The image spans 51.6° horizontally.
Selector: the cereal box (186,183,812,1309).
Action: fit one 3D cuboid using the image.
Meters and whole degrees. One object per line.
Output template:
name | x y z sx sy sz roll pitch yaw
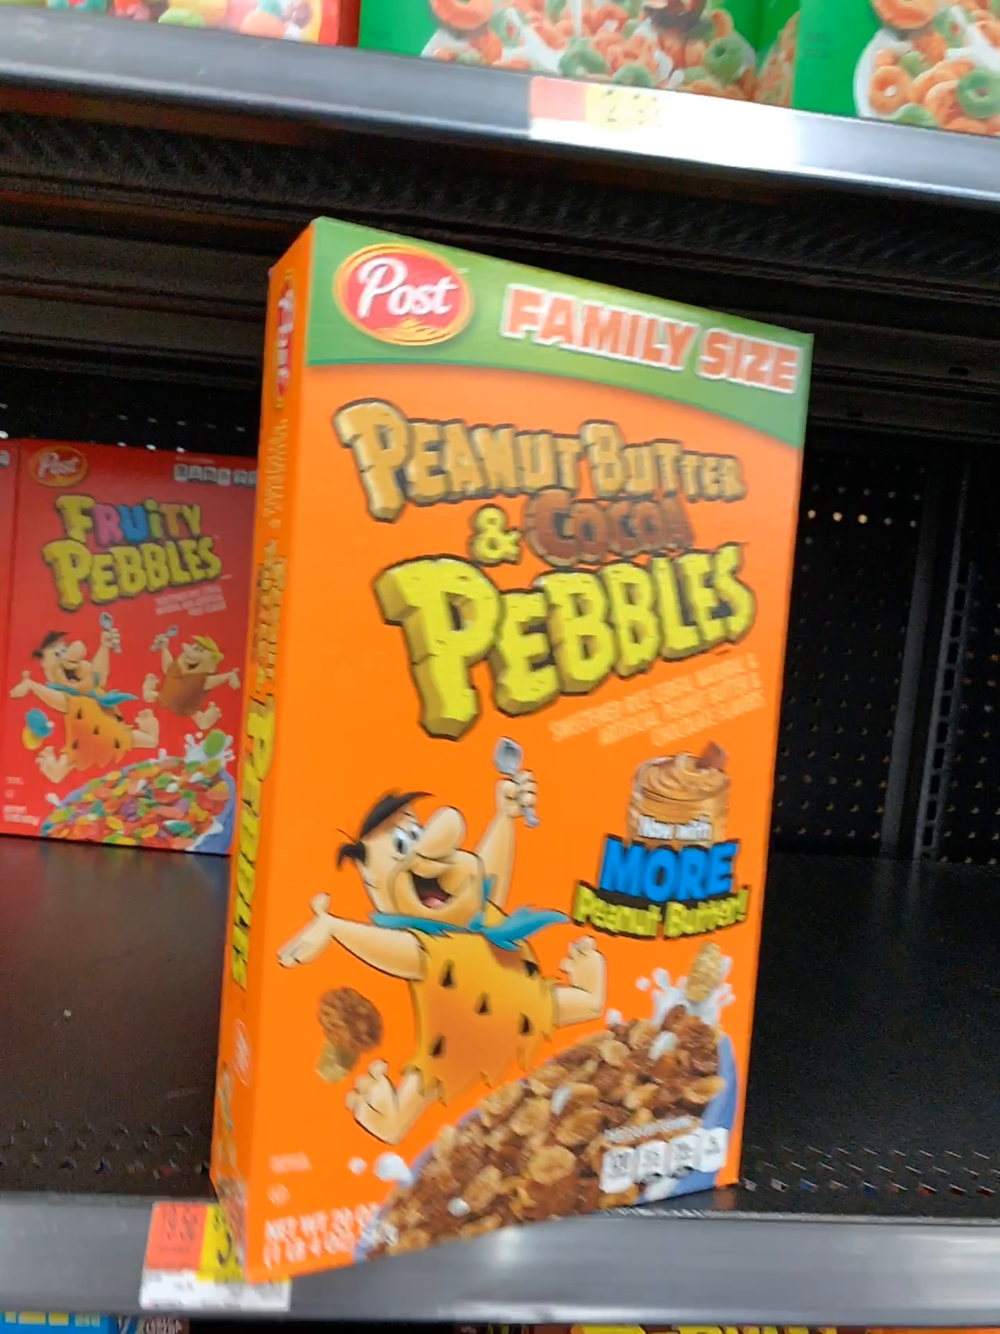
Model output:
cereal box | 0.001 0.030 0.379 0.200 0.340 0.060 2 4 -26
